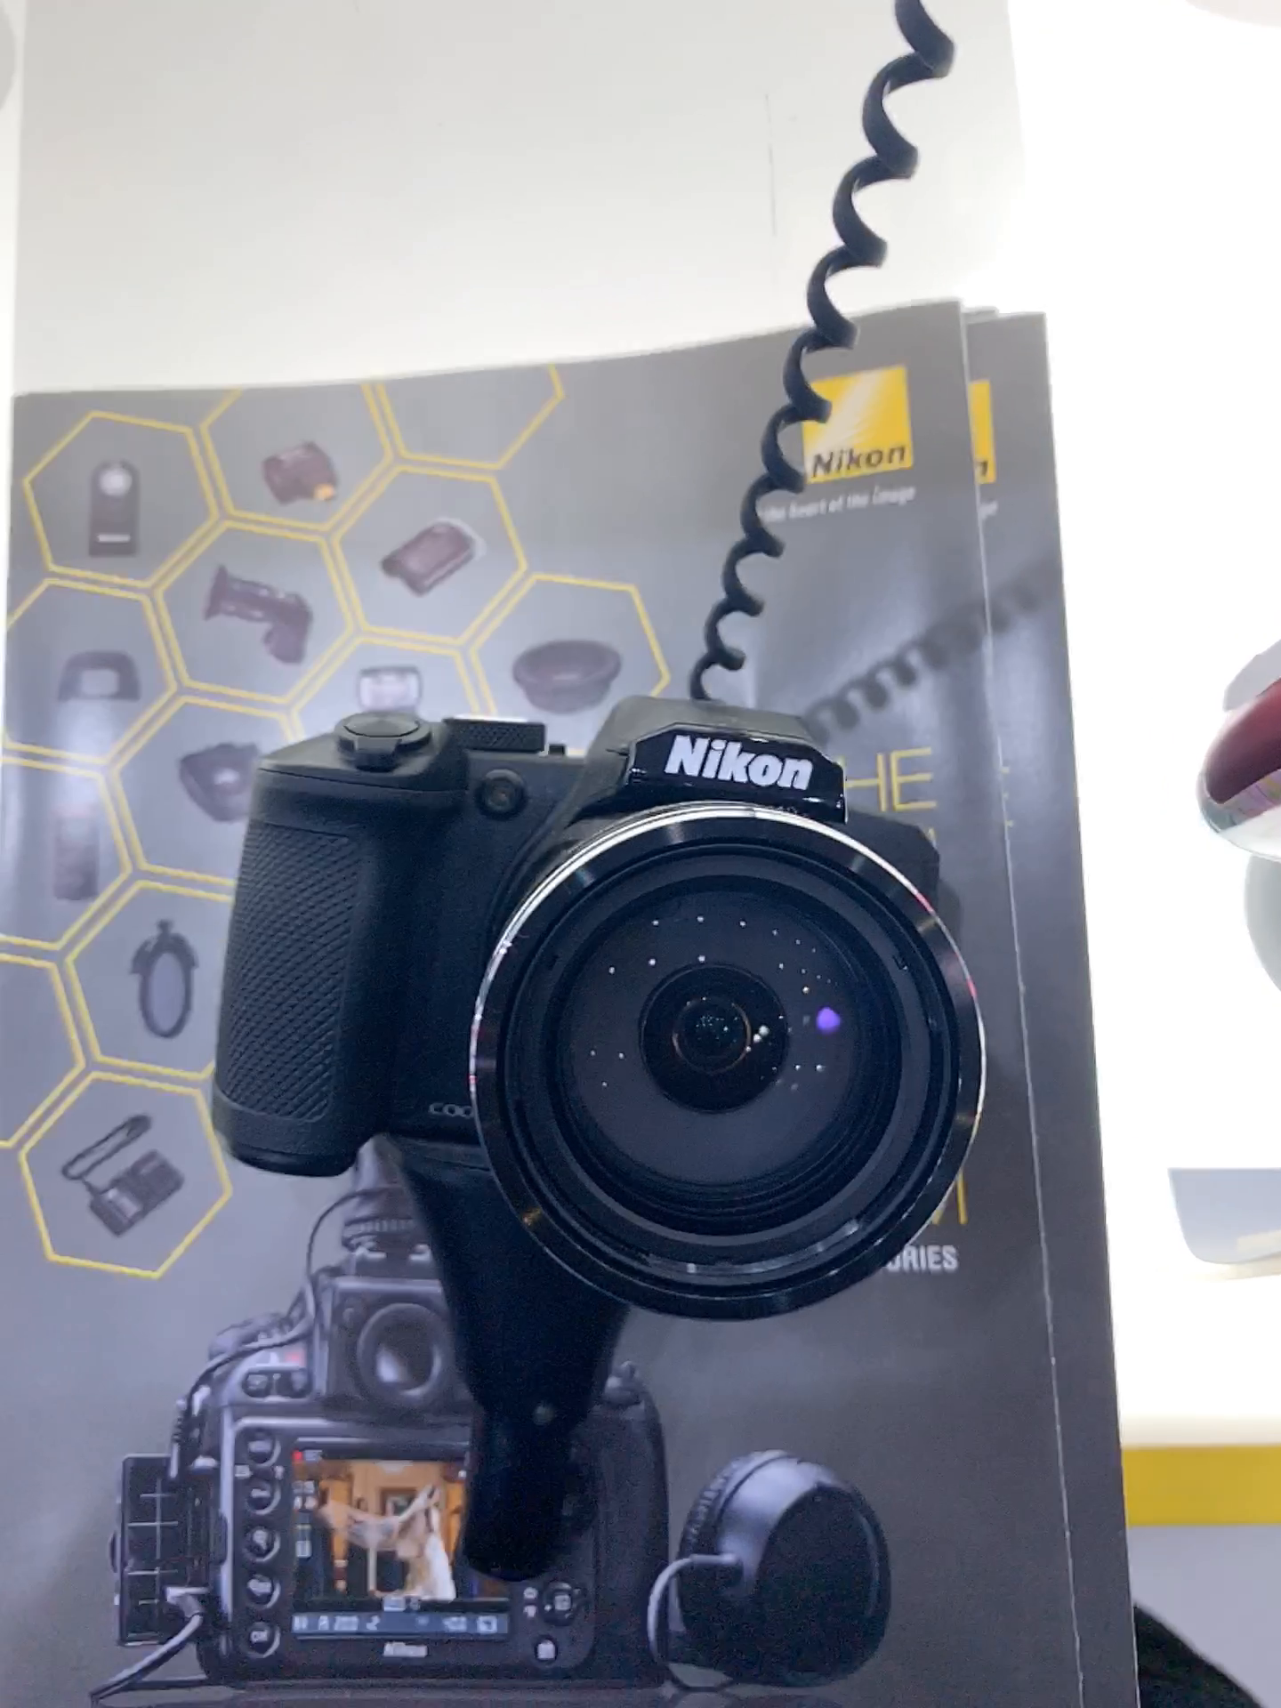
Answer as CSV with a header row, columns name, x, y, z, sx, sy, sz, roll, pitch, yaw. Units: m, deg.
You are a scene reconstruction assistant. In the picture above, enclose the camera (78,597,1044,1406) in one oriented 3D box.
name,x,y,z,sx,sy,sz,roll,pitch,yaw
camera,-0.009,0.015,0.216,0.120,0.080,0.090,8,96,8
